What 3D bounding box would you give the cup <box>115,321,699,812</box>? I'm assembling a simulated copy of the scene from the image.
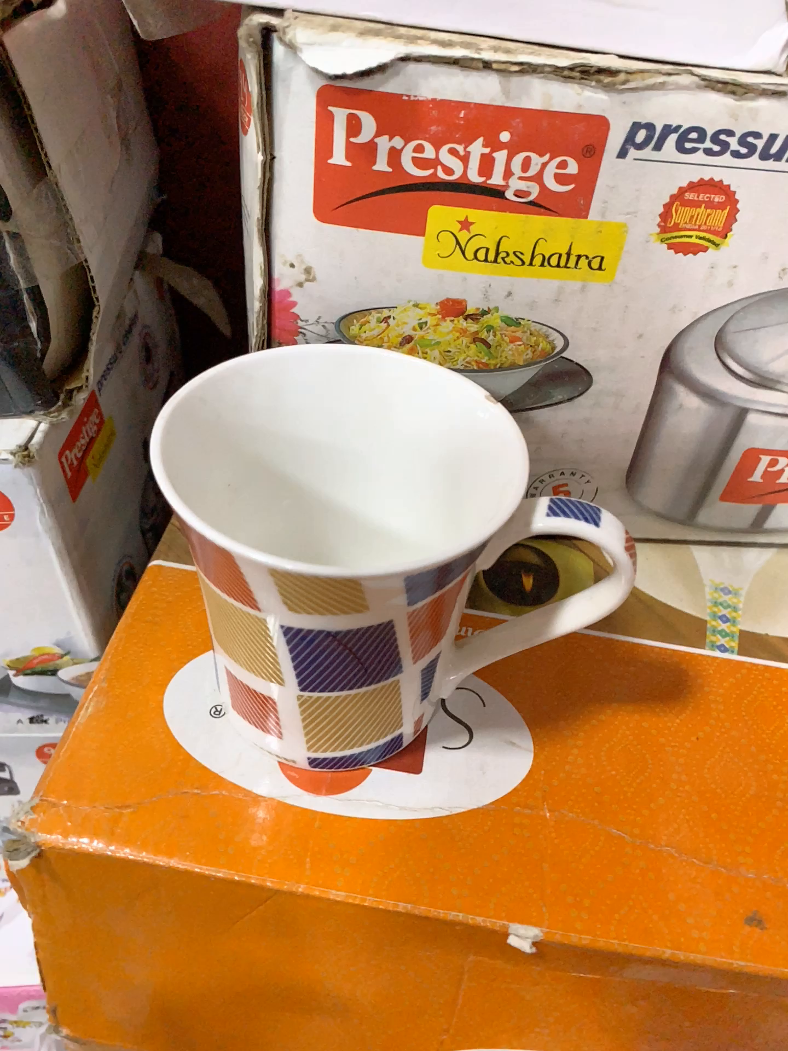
[{"bbox_3d":[-0.001,0.012,0.196,0.100,0.089,0.071,3,43,-5],"label":"cup"}]
